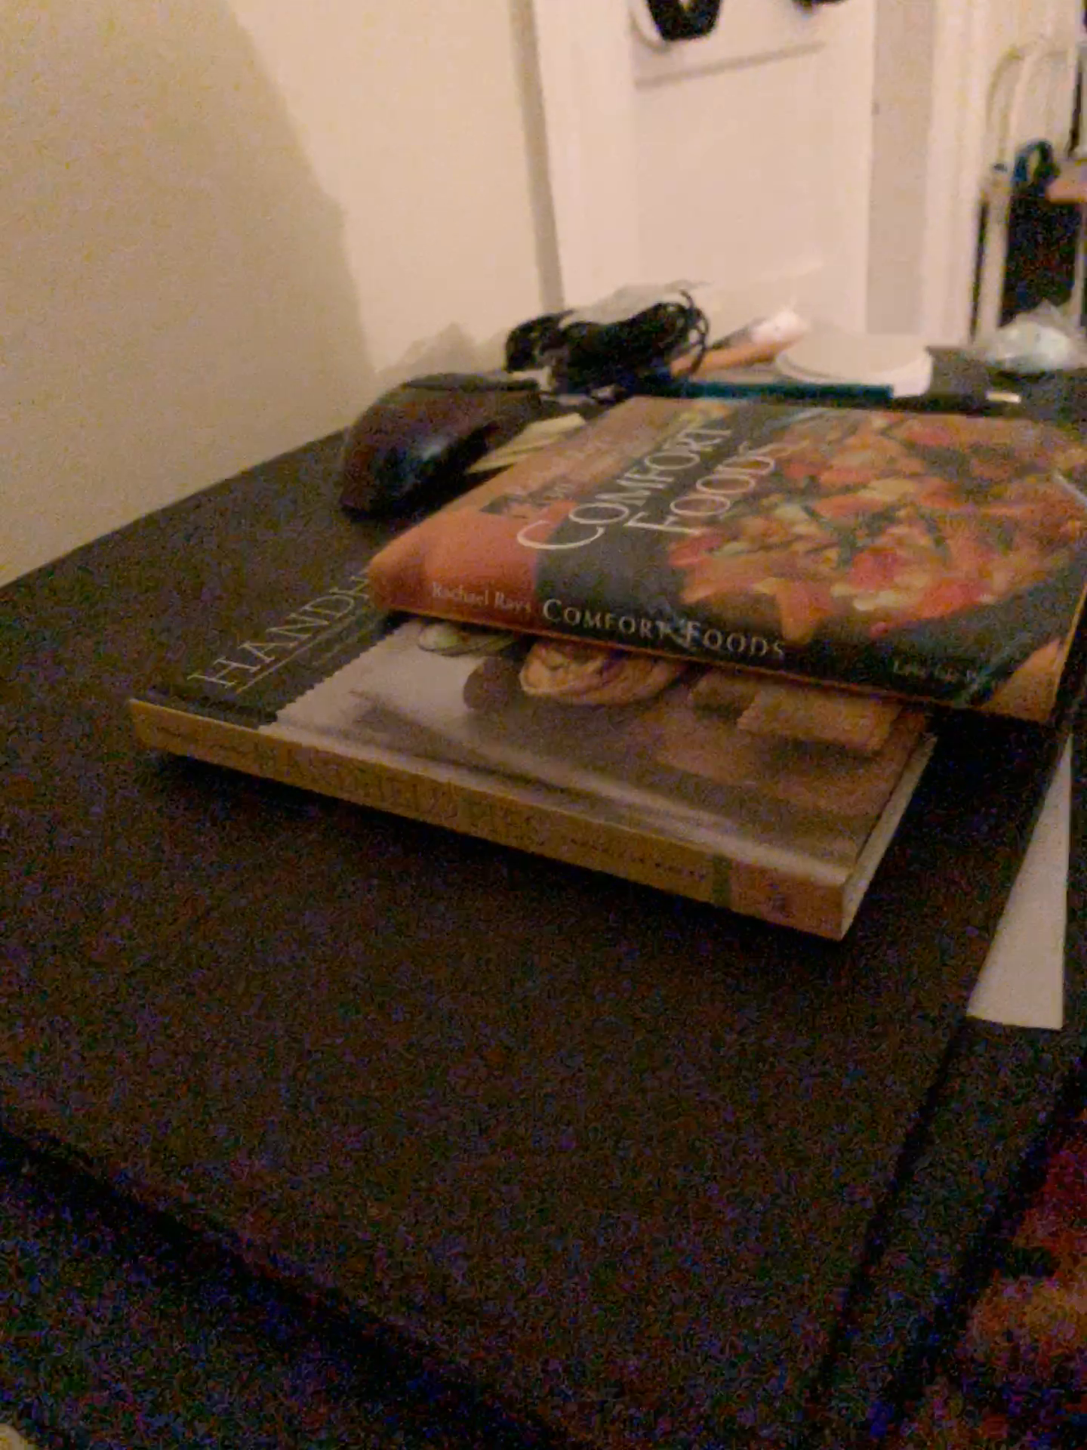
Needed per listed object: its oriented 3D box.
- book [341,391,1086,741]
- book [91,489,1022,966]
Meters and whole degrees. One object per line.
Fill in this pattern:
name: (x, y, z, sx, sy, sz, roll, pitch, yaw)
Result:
book: (0.077, -0.072, 0.382, 0.211, 0.020, 0.201, 11, 35, 28)
book: (0.010, -0.023, 0.343, 0.221, 0.020, 0.181, 12, 35, 28)
